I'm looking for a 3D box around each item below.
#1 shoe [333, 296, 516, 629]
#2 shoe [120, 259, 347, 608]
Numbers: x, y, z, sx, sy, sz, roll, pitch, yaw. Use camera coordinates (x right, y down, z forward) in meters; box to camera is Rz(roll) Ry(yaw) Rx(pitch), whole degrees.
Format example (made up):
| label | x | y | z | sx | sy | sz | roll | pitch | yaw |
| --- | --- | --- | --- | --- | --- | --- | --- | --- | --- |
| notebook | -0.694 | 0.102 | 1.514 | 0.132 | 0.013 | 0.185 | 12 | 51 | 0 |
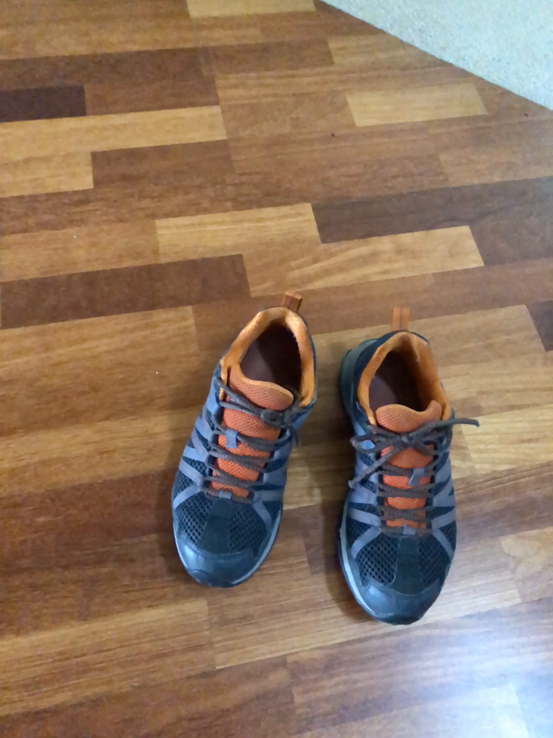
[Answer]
| label | x | y | z | sx | sy | sz | roll | pitch | yaw |
| --- | --- | --- | --- | --- | --- | --- | --- | --- | --- |
| shoe | 0.122 | 0.085 | 0.568 | 0.118 | 0.117 | 0.279 | 4 | 63 | -3 |
| shoe | -0.029 | 0.056 | 0.566 | 0.113 | 0.117 | 0.282 | 16 | 63 | 3 |
